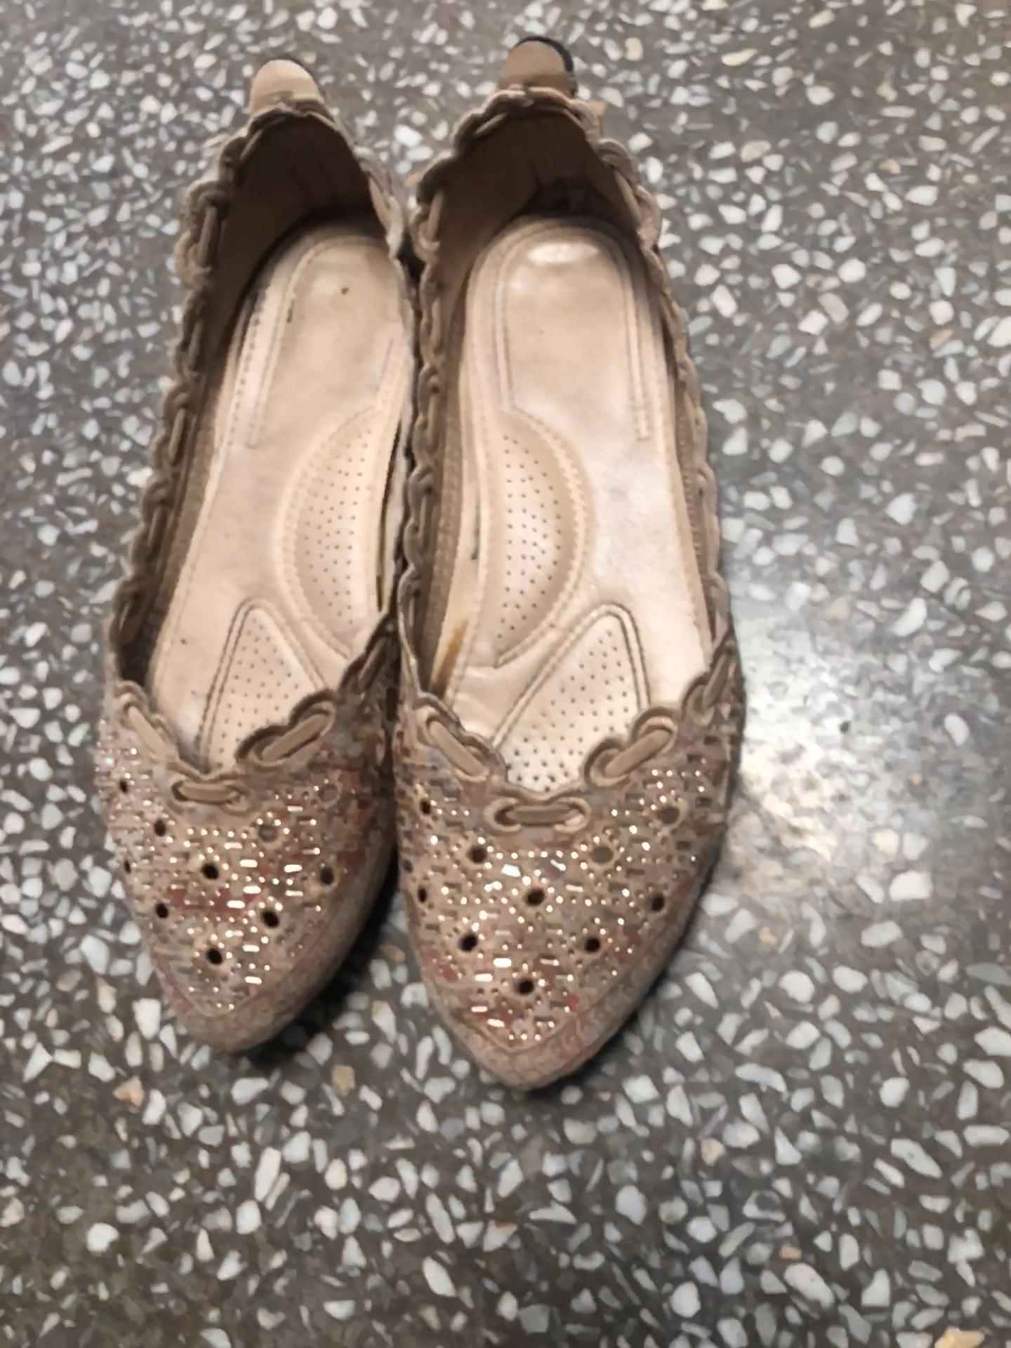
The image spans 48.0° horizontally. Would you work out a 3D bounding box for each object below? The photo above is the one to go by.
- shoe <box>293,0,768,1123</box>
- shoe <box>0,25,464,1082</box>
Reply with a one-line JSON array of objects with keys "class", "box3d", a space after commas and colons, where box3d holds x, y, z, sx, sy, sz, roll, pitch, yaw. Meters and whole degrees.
[{"class": "shoe", "box3d": [0.010, -0.031, 0.278, 0.089, 0.068, 0.254, -2, 74, 9]}, {"class": "shoe", "box3d": [-0.071, -0.034, 0.296, 0.089, 0.068, 0.254, 1, 75, 10]}]
